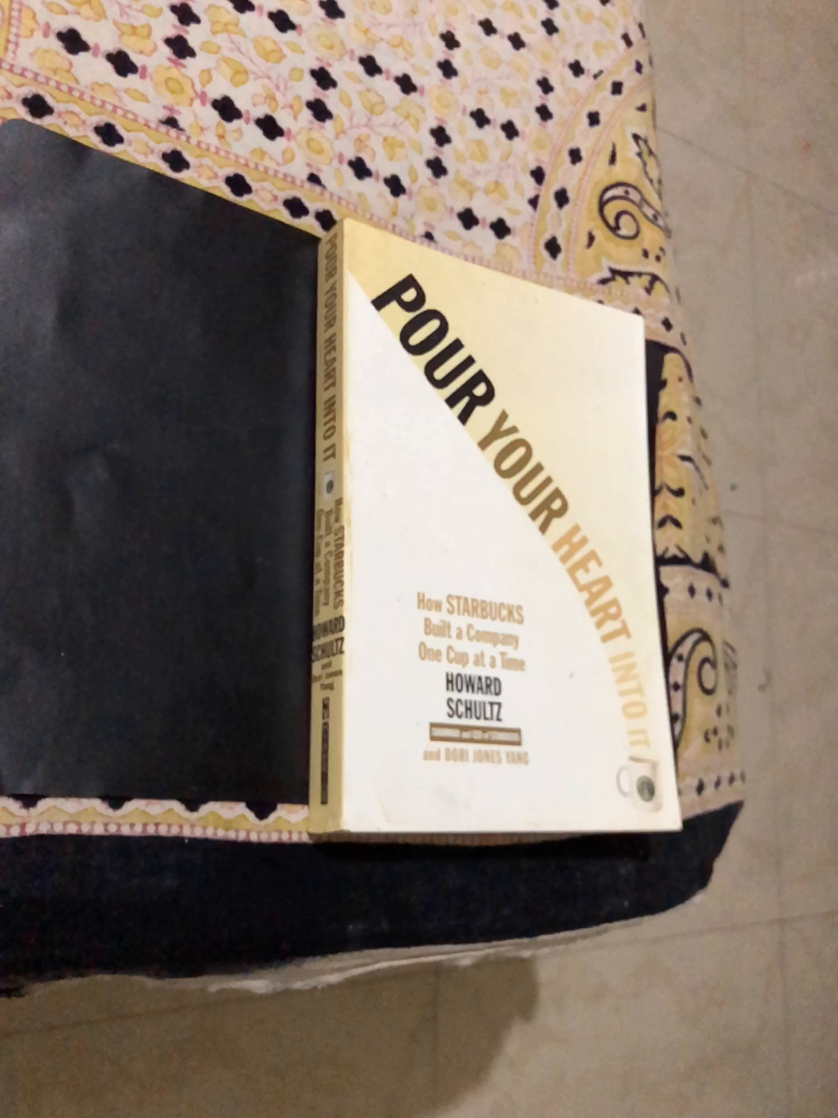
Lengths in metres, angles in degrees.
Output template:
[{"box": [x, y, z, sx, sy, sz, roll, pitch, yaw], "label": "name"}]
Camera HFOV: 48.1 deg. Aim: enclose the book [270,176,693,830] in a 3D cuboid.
[{"box": [0.028, -0.014, 0.387, 0.161, 0.050, 0.240, 10, 71, -31], "label": "book"}]
